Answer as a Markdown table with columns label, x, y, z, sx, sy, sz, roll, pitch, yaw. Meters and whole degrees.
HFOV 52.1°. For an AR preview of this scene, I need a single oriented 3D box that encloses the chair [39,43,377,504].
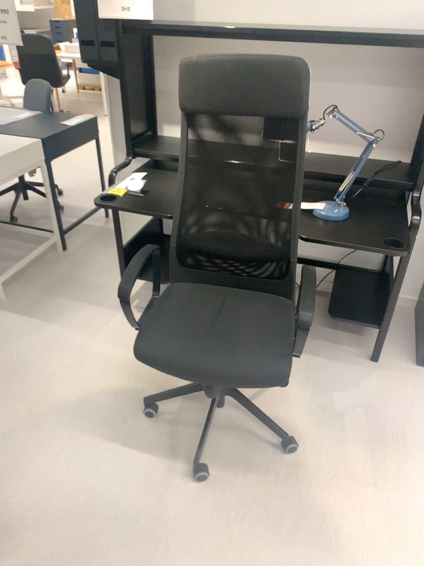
| label | x | y | z | sx | sy | sz | roll | pitch | yaw |
| --- | --- | --- | --- | --- | --- | --- | --- | --- | --- |
| chair | 0.048 | -0.038 | 1.424 | 0.640 | 1.245 | 0.713 | 8 | 34 | 11 |
